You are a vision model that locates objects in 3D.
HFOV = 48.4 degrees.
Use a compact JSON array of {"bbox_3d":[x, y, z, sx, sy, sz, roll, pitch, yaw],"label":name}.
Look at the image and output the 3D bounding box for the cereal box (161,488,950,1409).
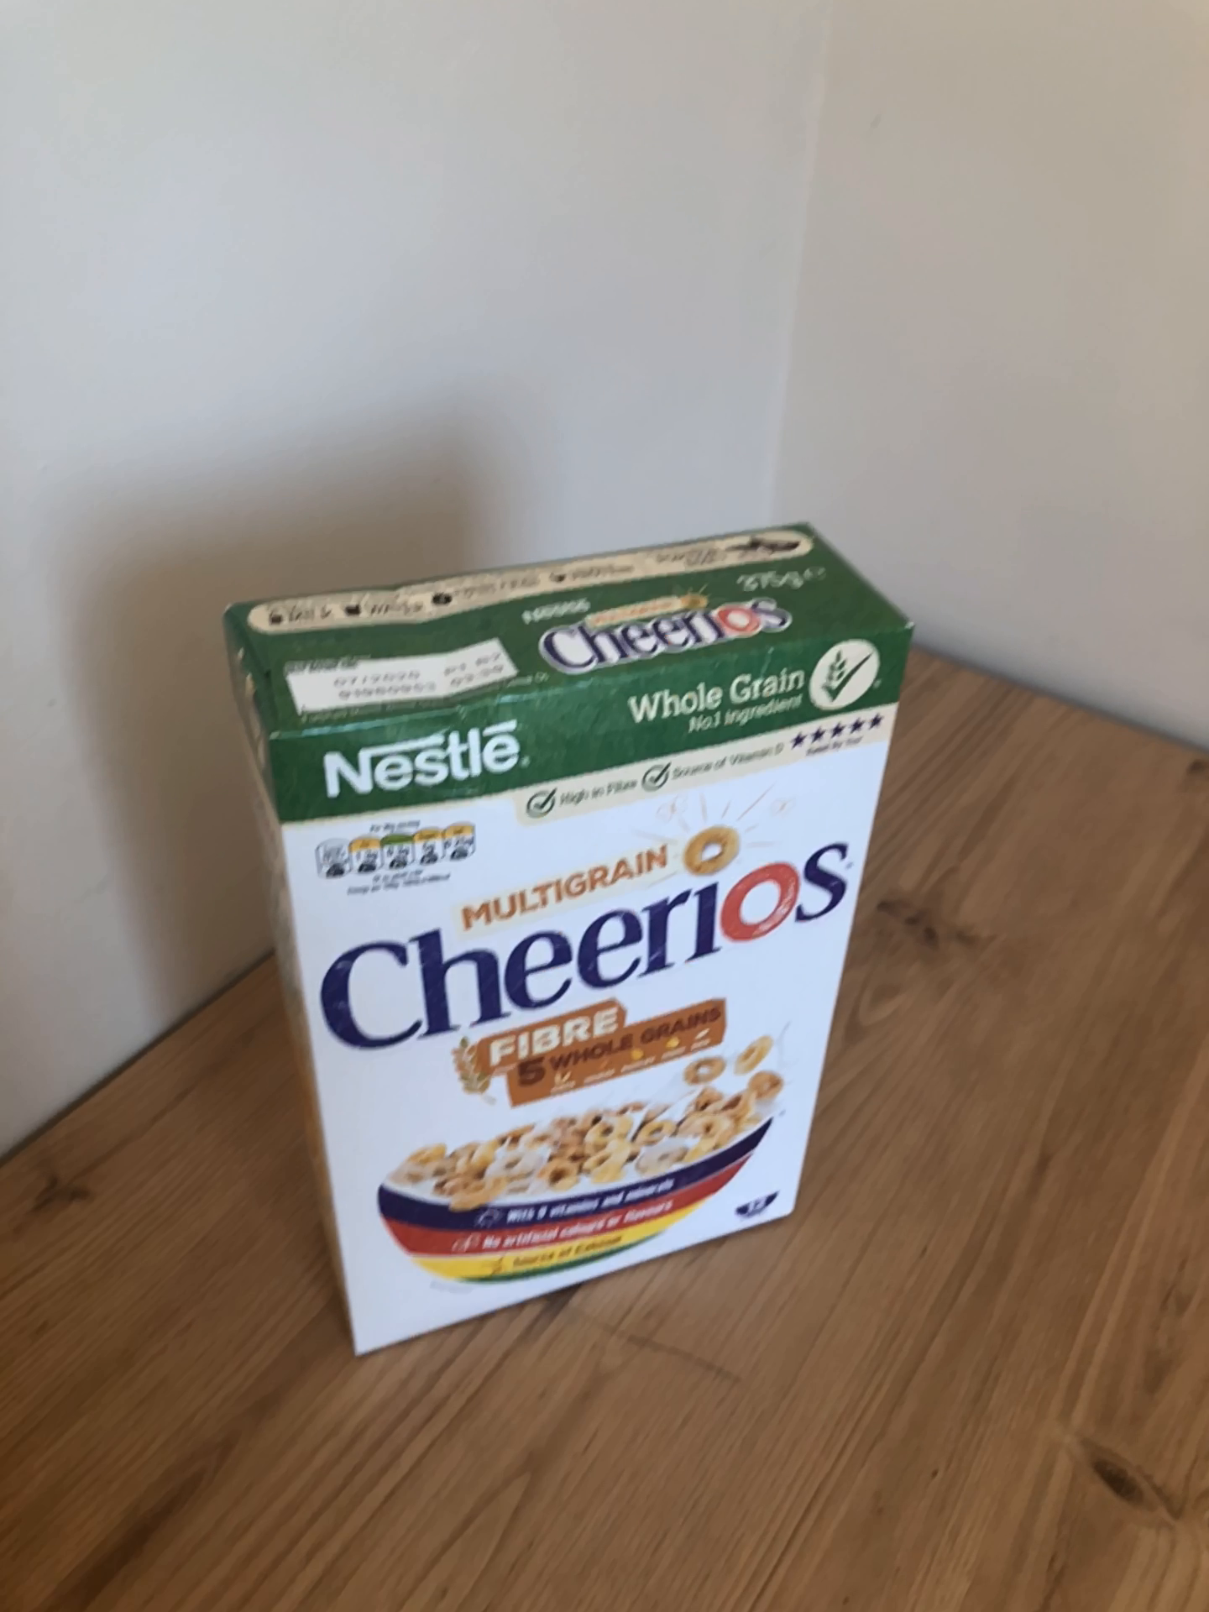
[{"bbox_3d":[-0.019,0.061,0.477,0.210,0.308,0.080,-12,40,-19],"label":"cereal box"}]
